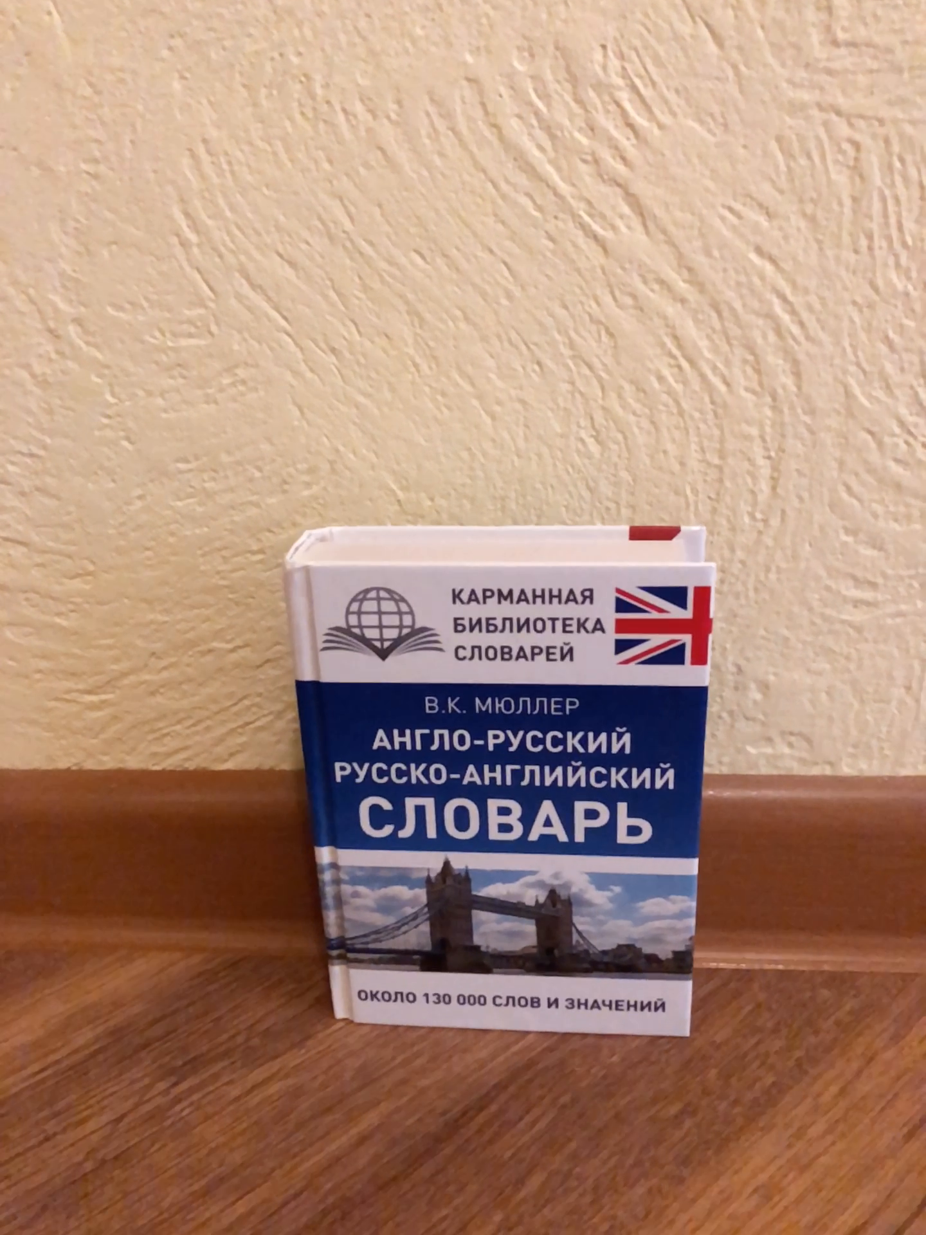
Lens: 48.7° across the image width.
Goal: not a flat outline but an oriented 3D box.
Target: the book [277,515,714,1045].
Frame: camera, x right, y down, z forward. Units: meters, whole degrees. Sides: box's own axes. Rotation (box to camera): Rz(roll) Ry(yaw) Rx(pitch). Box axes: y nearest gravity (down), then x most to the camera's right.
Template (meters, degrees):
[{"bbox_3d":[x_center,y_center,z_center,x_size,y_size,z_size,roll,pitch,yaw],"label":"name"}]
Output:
[{"bbox_3d":[0.011,0.048,0.285,0.102,0.146,0.037,0,24,6],"label":"book"}]
